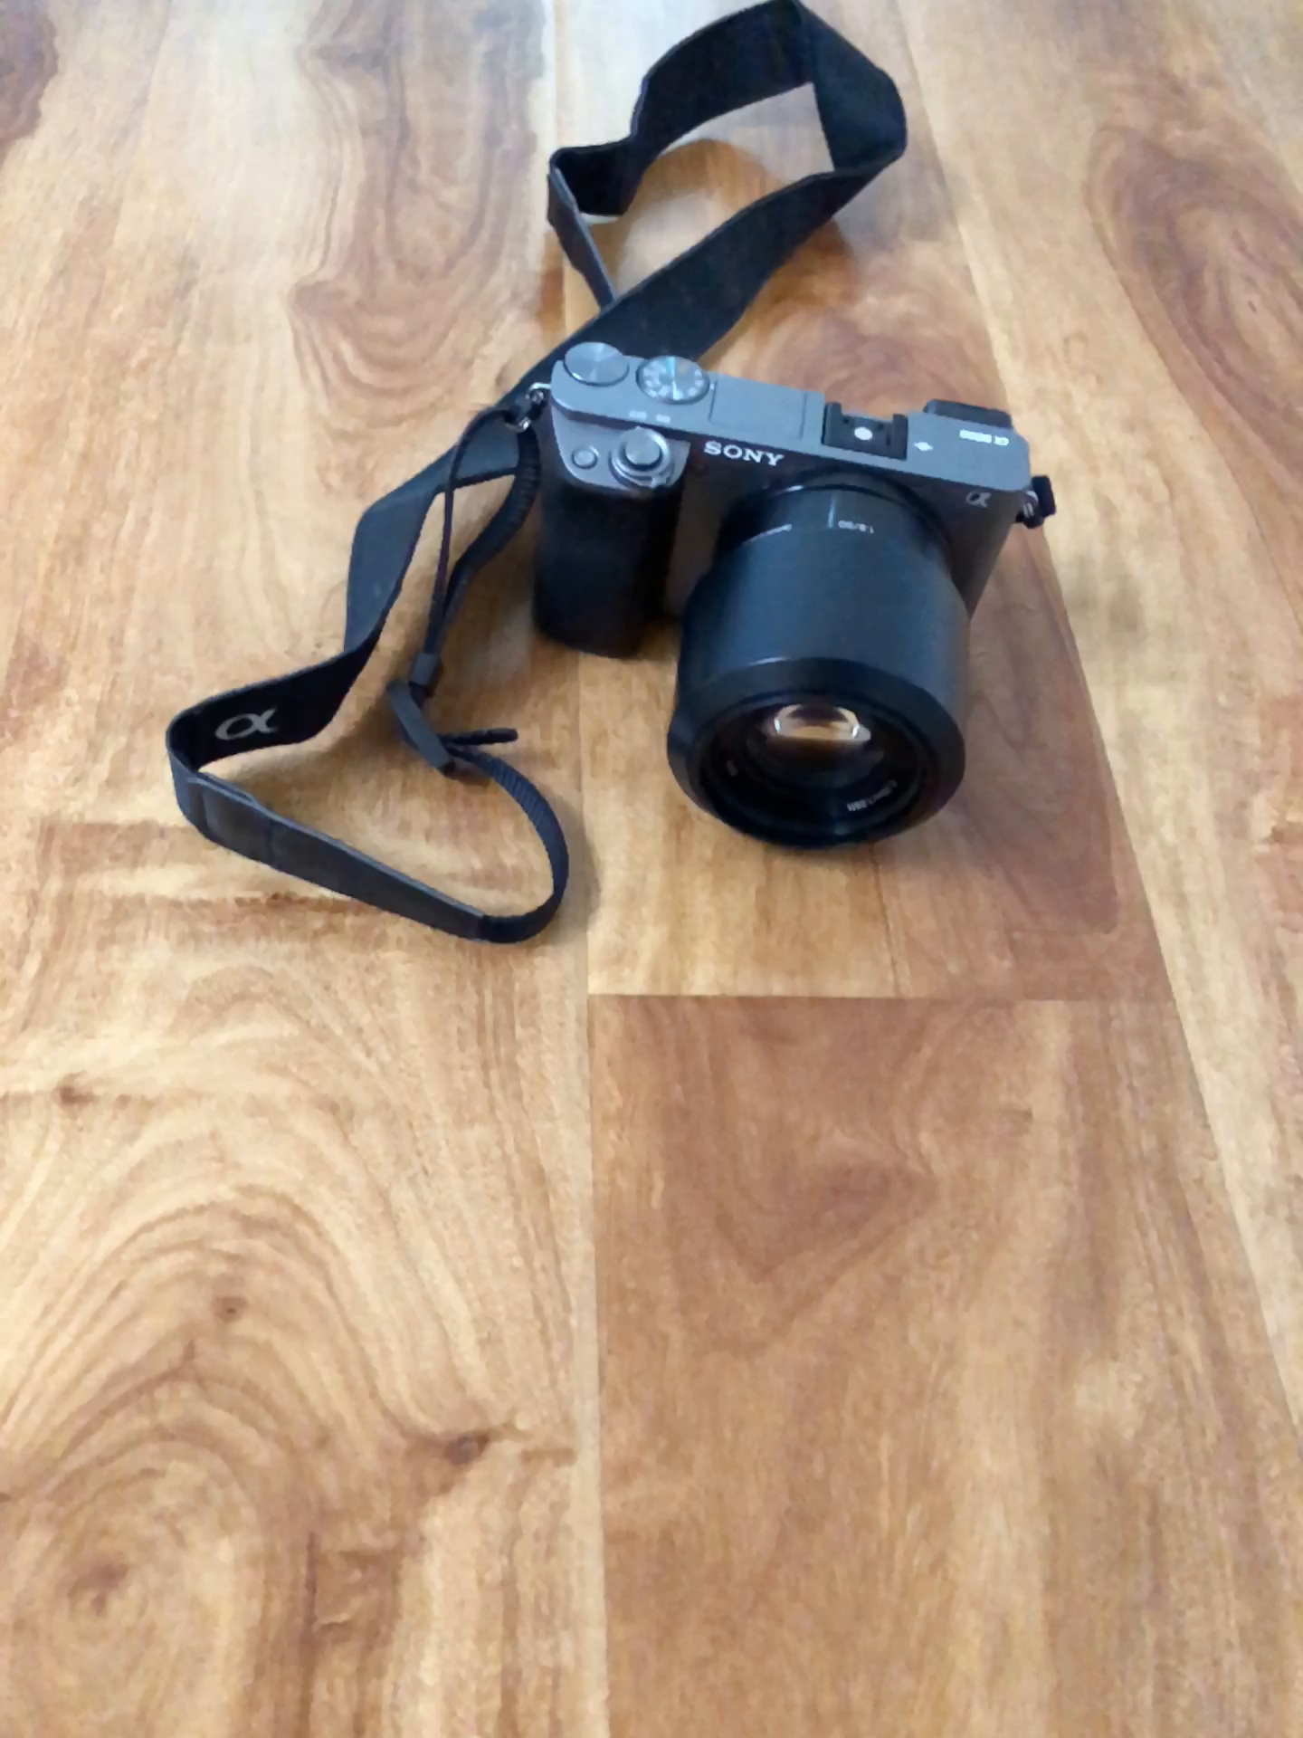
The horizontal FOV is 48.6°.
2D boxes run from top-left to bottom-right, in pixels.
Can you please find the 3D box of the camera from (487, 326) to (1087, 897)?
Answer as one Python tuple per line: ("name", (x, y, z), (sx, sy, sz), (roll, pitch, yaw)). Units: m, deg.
("camera", (0.032, -0.067, 0.373), (0.130, 0.070, 0.110), (9, 54, -2))
